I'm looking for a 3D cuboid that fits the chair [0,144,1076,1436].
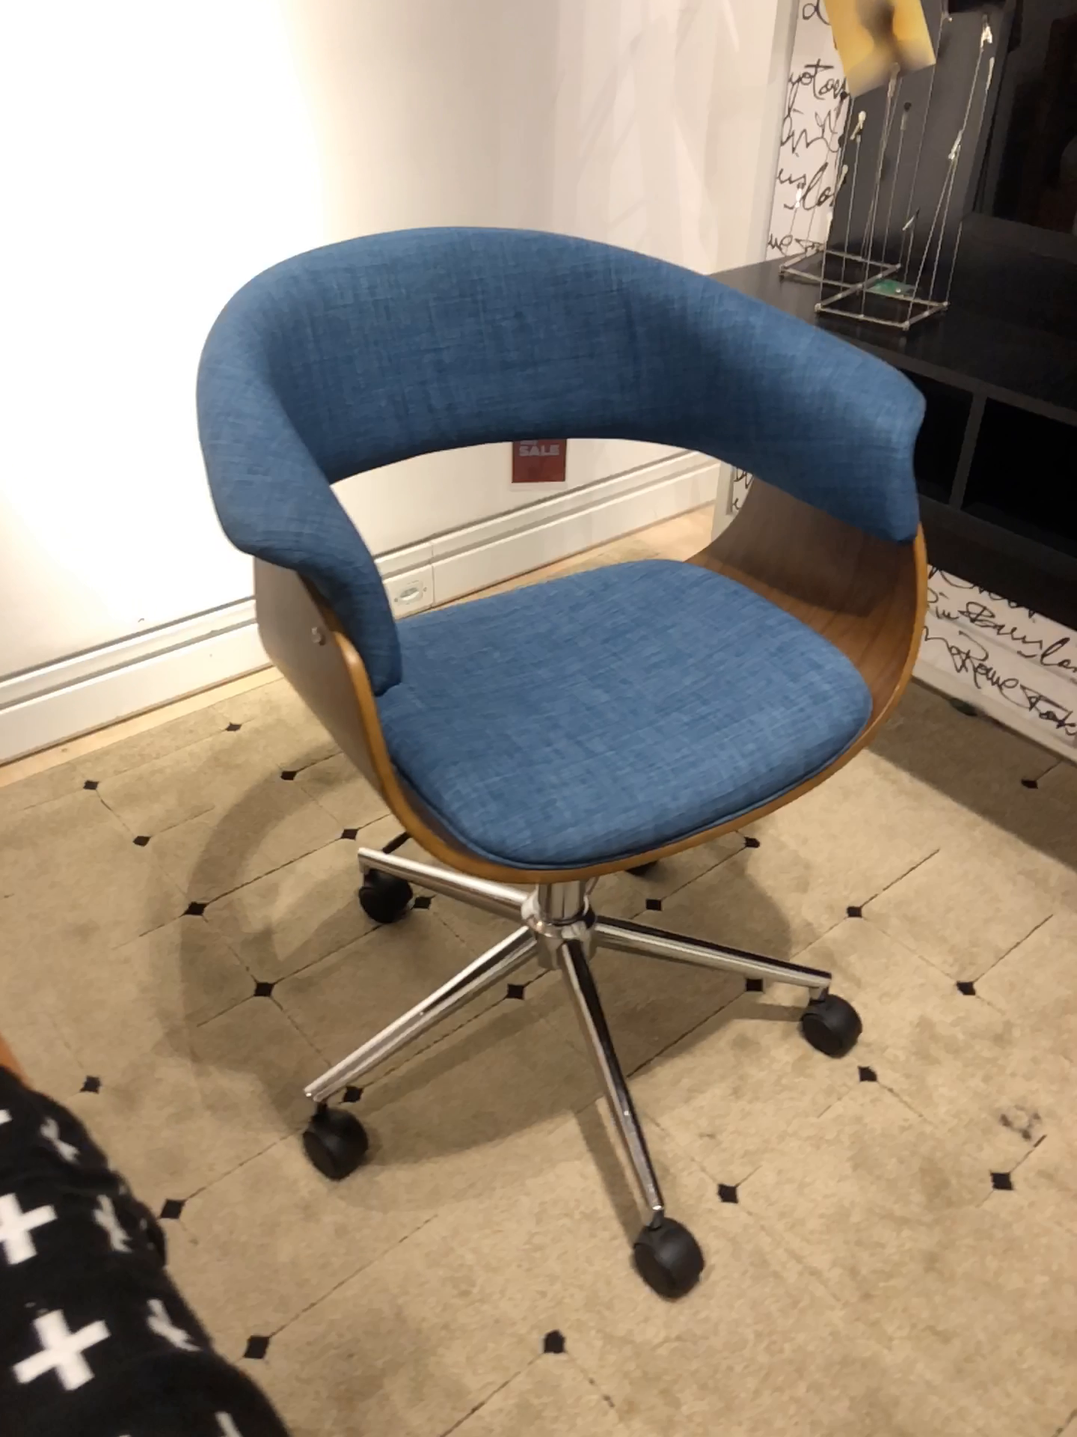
[{"bbox_3d":[-0.002,-0.012,1.063,0.612,0.774,0.673,-22,42,-30],"label":"chair"}]
